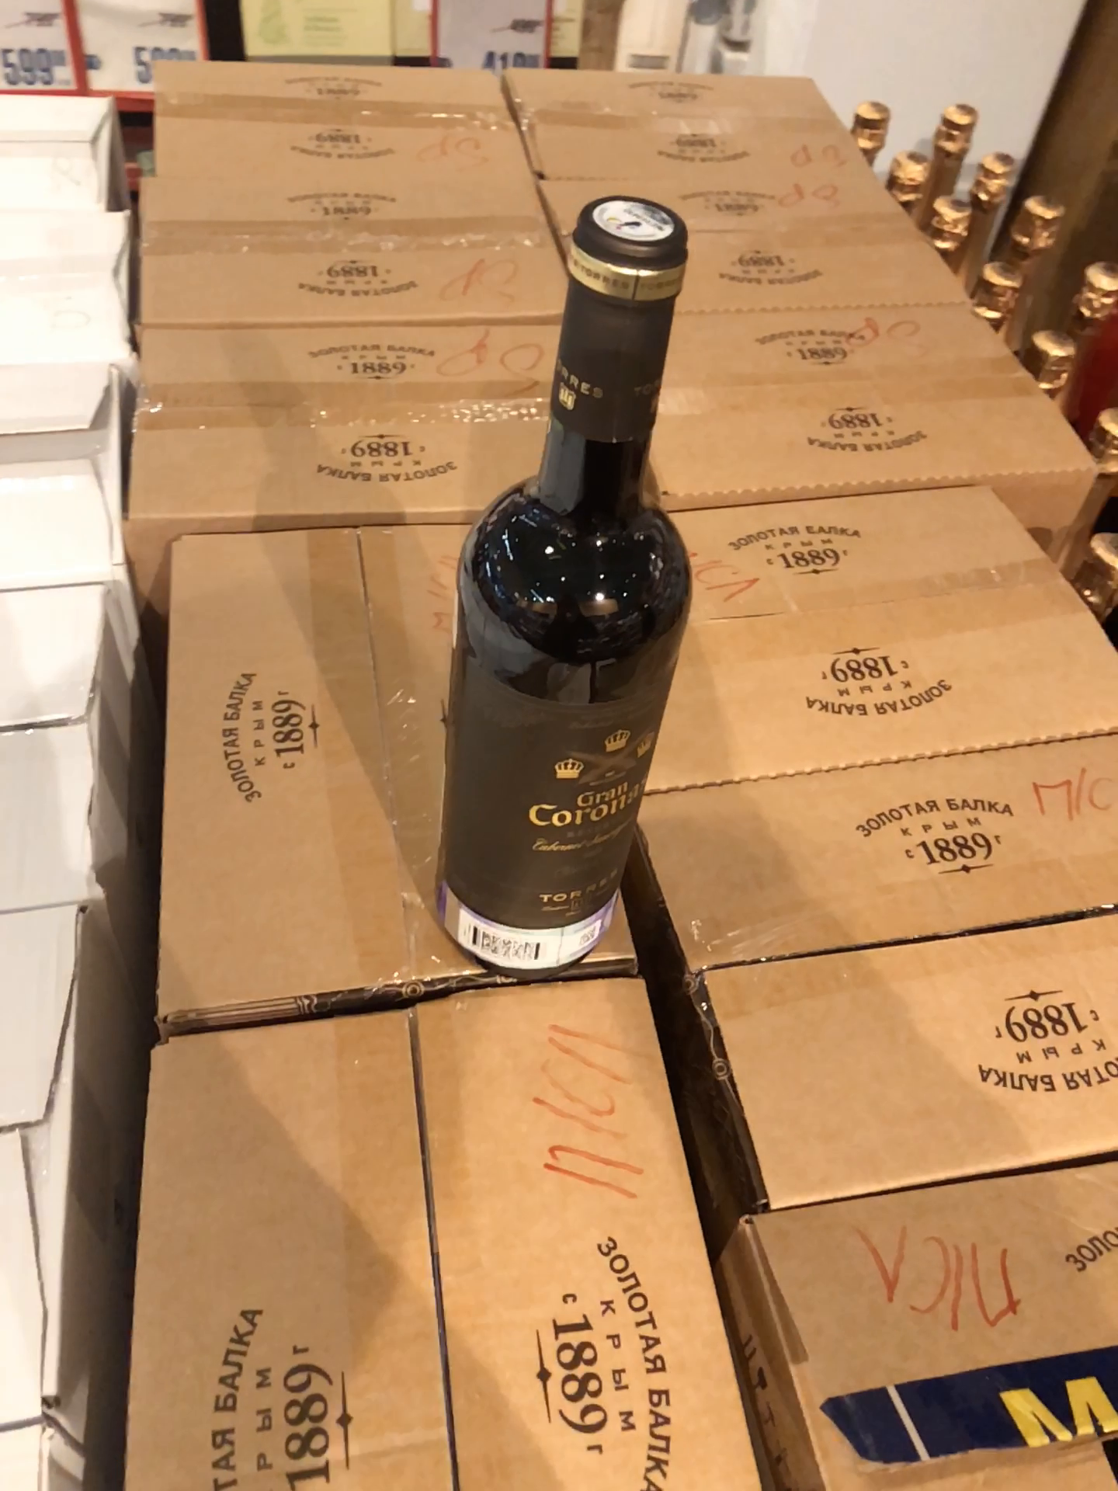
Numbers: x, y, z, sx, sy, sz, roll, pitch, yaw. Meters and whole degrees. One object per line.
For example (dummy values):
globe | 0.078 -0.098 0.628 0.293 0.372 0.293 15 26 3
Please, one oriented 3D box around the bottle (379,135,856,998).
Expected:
bottle | -0.002 -0.036 0.407 0.090 0.278 0.090 4 49 -4
